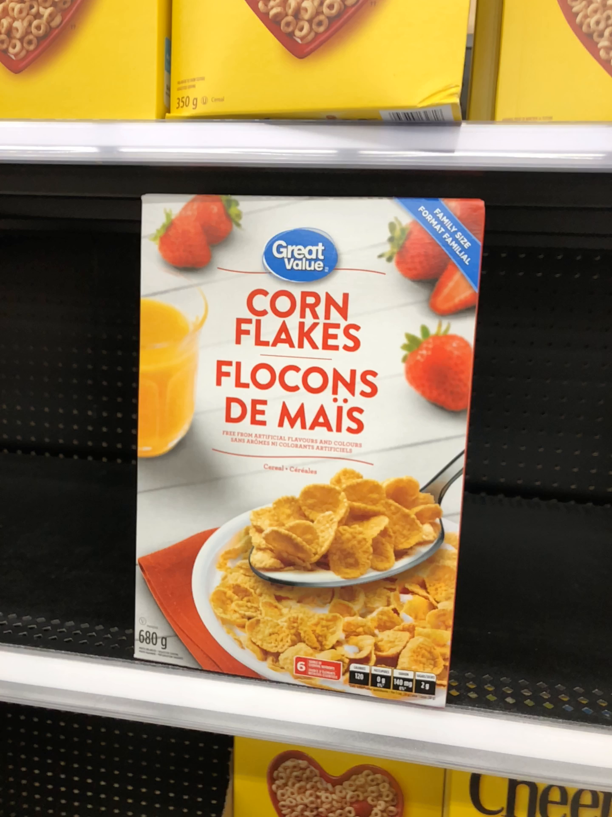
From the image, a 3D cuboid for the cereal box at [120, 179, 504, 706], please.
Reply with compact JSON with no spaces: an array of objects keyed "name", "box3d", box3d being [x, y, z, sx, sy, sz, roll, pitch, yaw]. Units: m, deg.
[{"name":"cereal box","box3d":[0.000,0.015,0.488,0.240,0.329,0.090,4,8,11]}]
